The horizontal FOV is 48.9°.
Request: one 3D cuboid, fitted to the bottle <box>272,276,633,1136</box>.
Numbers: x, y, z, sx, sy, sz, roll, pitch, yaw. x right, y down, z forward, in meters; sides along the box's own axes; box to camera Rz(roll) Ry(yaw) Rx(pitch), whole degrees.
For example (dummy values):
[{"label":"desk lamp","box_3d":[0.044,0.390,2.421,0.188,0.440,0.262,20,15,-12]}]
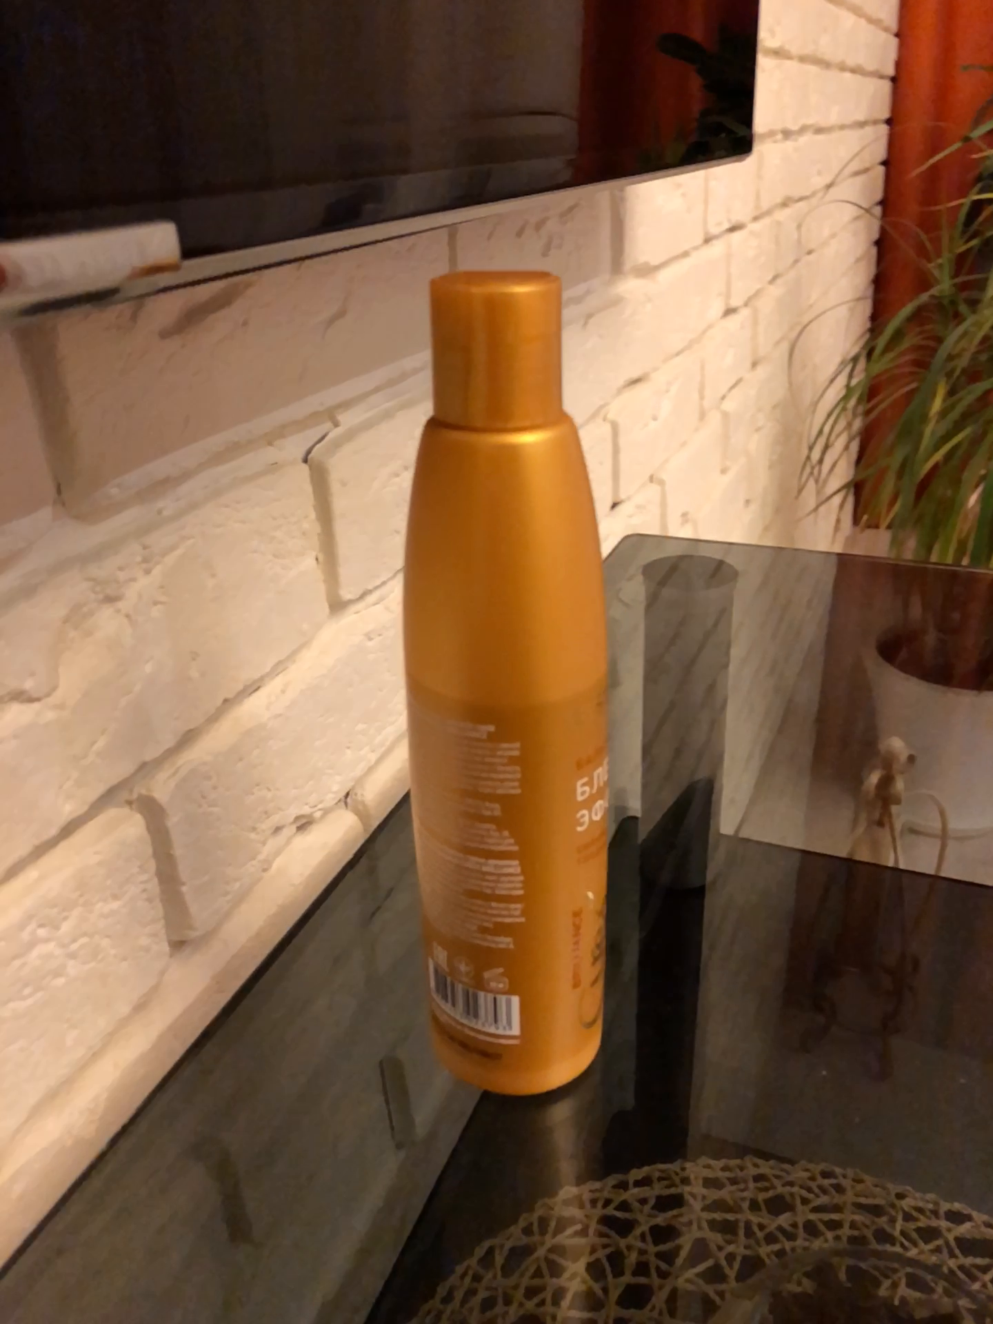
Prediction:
[{"label":"bottle","box_3d":[-0.002,0.016,0.262,0.060,0.199,0.050,5,26,16]}]
